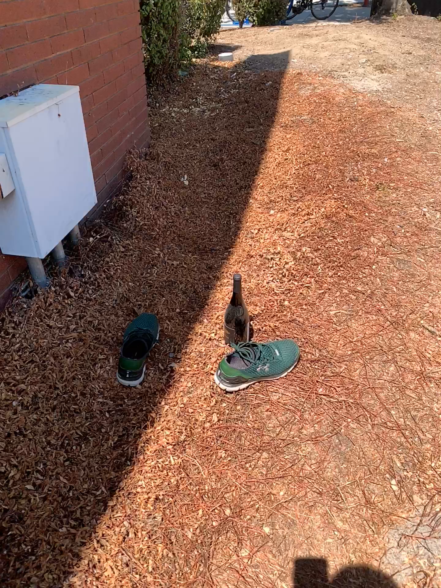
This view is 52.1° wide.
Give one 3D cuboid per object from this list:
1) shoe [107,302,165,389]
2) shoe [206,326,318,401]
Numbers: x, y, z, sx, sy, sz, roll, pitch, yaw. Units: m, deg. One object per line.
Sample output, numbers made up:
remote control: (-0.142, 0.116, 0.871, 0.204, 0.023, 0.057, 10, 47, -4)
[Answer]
shoe: (-0.268, 0.158, 1.481, 0.120, 0.070, 0.332, 2, 36, 2)
shoe: (0.129, 0.211, 1.407, 0.320, 0.079, 0.131, -15, 39, -19)
